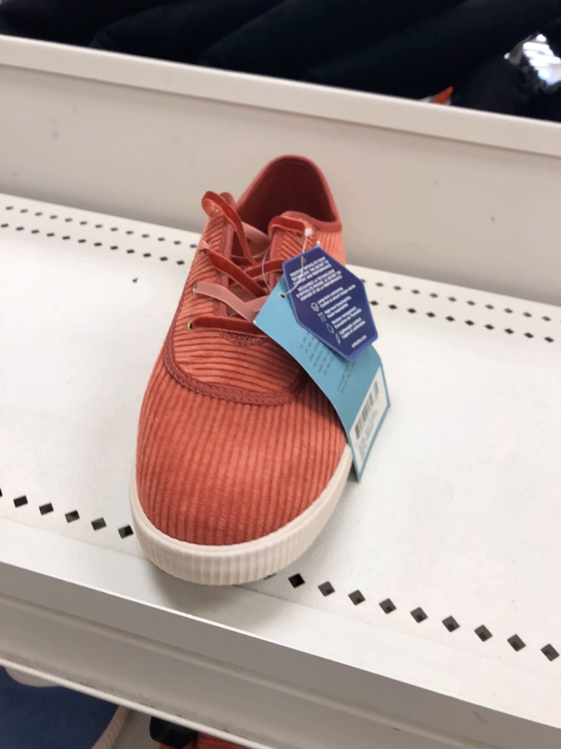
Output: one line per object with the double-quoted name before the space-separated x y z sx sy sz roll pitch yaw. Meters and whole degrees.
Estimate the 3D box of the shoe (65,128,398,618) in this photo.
"shoe" 0.004 -0.044 0.345 0.100 0.089 0.323 10 35 4
